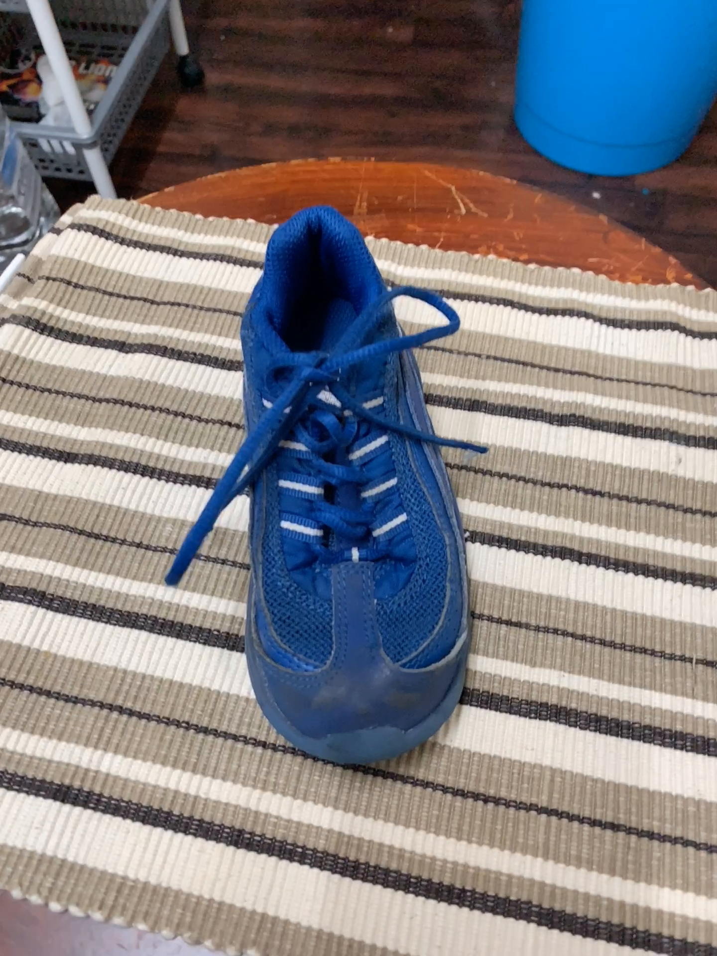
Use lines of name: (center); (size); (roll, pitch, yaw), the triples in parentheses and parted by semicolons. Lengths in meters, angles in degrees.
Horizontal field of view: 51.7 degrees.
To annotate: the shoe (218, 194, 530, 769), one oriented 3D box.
shoe: (0.000, -0.003, 0.251); (0.073, 0.079, 0.176); (-3, 60, 0)
